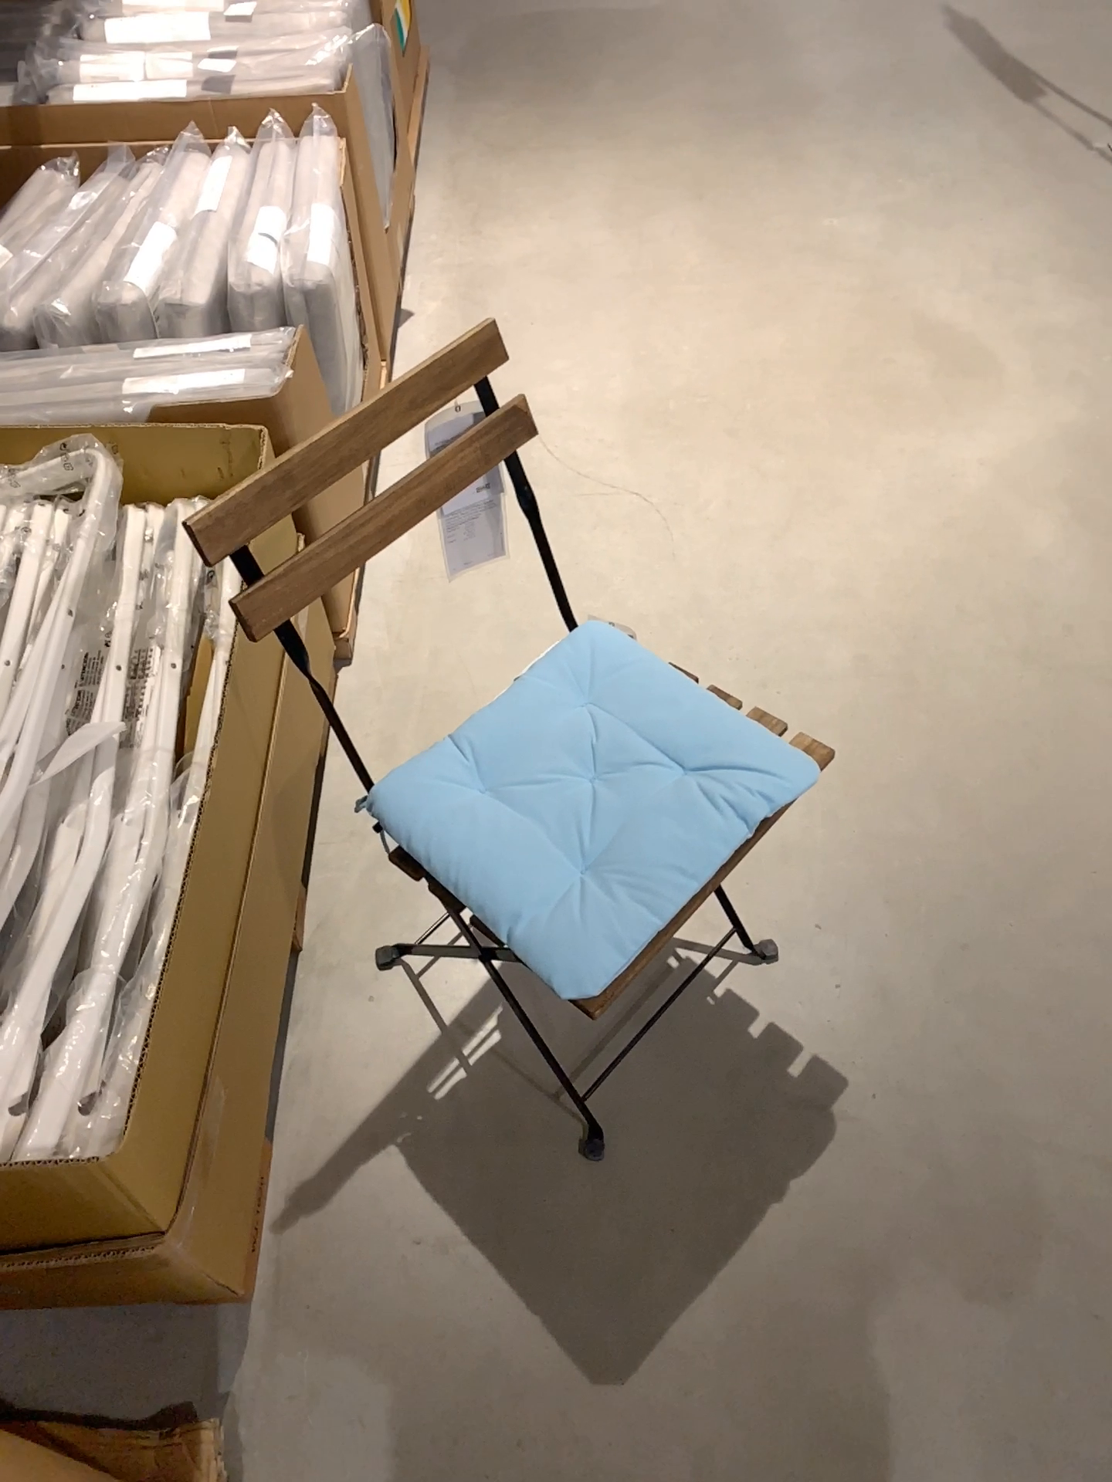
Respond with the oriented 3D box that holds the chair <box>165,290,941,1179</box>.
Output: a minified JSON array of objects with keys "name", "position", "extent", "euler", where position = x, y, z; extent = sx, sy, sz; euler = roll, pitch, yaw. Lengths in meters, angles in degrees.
[{"name":"chair","position":[0.009,0.035,1.180],"extent":[0.461,0.738,0.400],"euler":[34,61,25]}]
